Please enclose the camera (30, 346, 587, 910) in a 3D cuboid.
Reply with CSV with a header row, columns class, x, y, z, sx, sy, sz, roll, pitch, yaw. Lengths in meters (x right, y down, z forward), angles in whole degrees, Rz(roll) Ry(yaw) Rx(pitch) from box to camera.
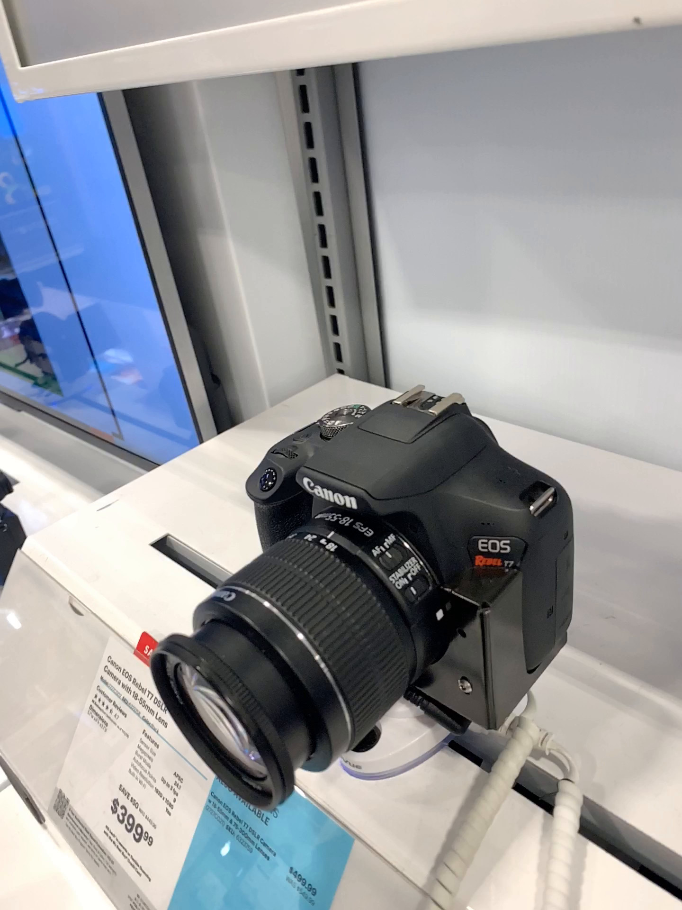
class,x,y,z,sx,sy,sz,roll,pitch,yaw
camera,-0.004,0.042,0.259,0.126,0.099,0.141,20,41,41
